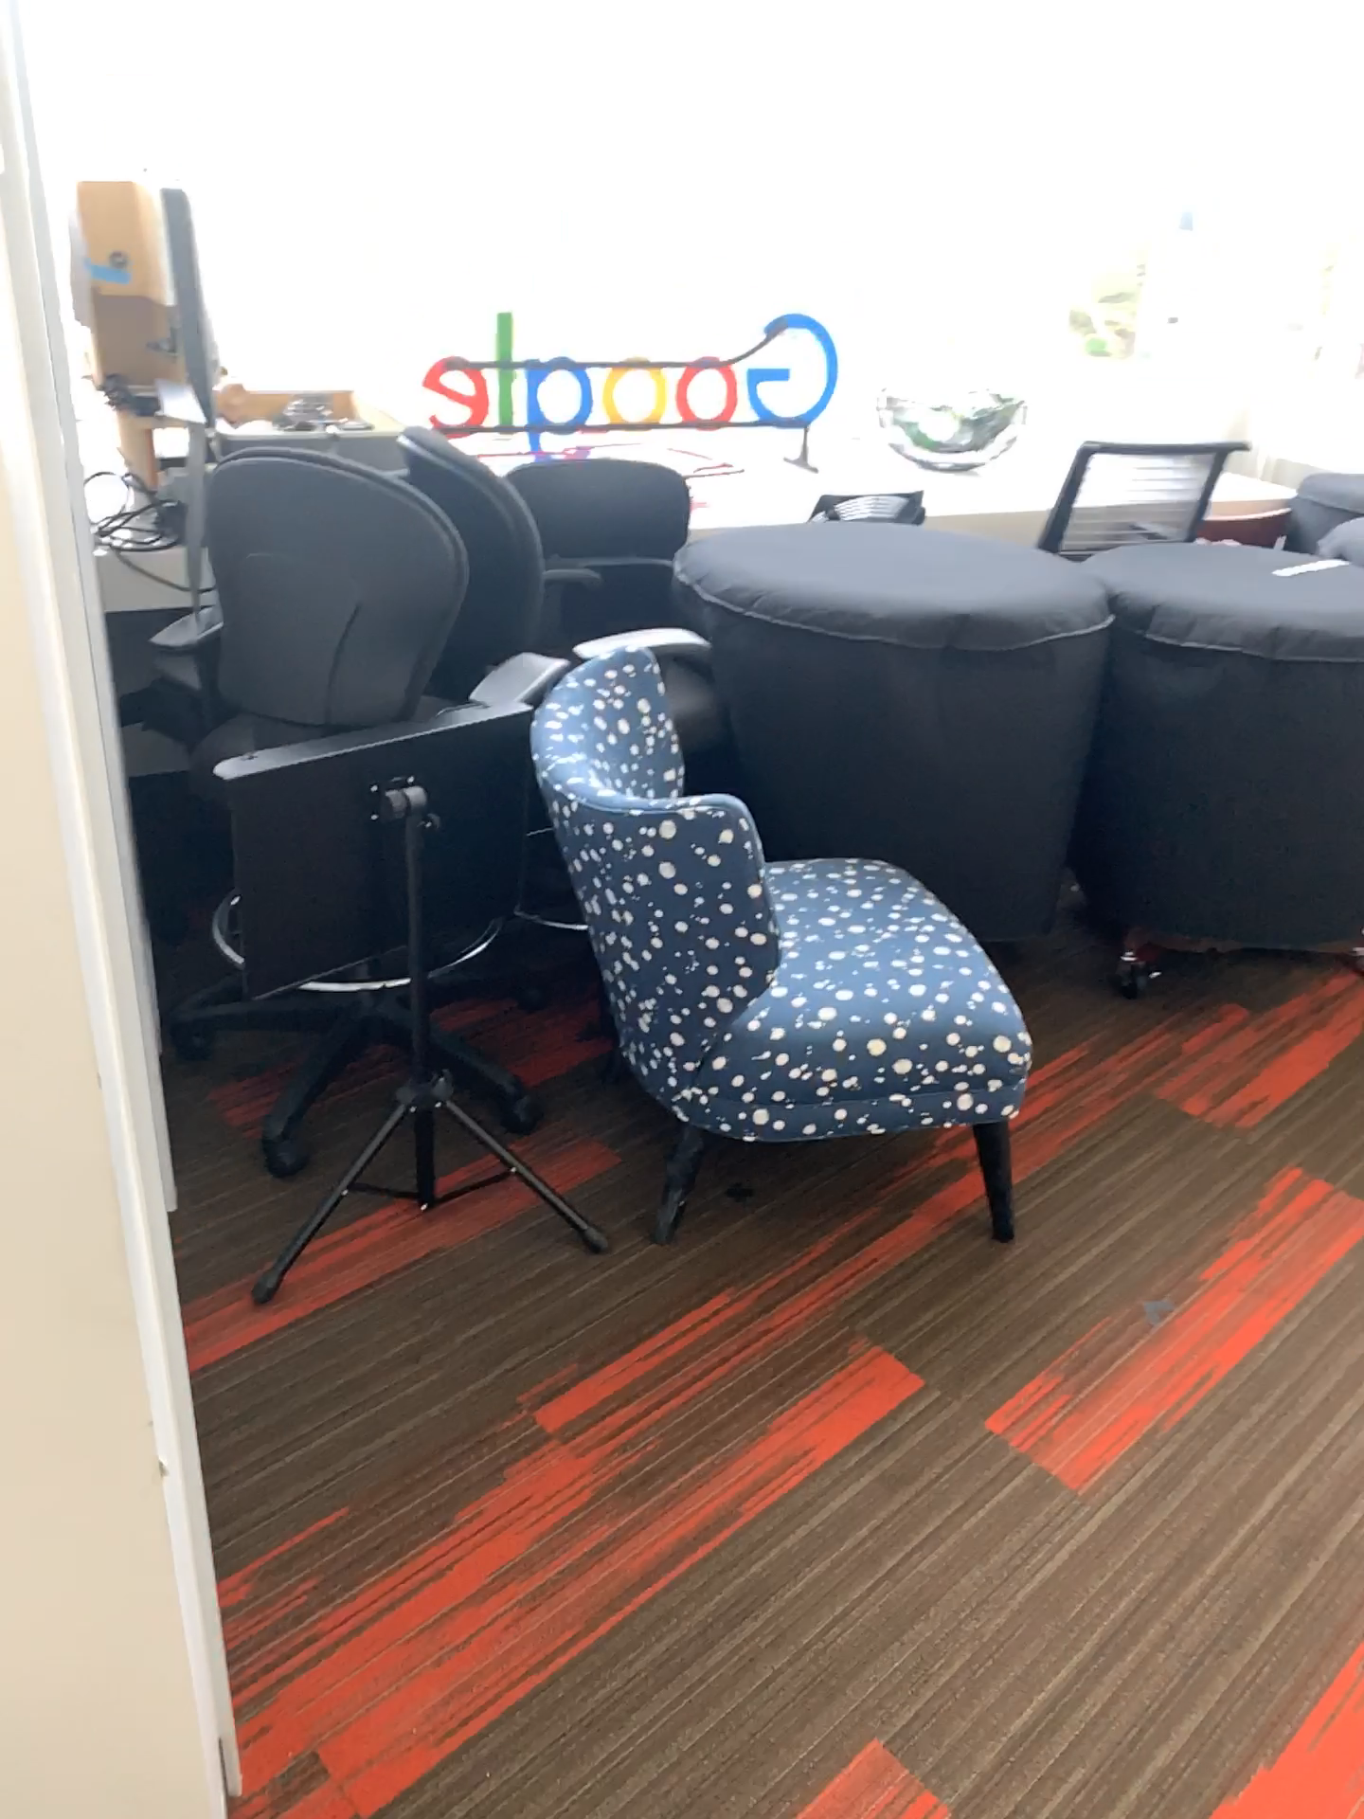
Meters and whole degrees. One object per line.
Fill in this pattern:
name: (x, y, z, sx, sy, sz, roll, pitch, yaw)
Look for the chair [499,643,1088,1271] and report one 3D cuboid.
chair: (0.087, 0.009, 2.481, 0.770, 0.686, 1.006, -1, 27, -10)
